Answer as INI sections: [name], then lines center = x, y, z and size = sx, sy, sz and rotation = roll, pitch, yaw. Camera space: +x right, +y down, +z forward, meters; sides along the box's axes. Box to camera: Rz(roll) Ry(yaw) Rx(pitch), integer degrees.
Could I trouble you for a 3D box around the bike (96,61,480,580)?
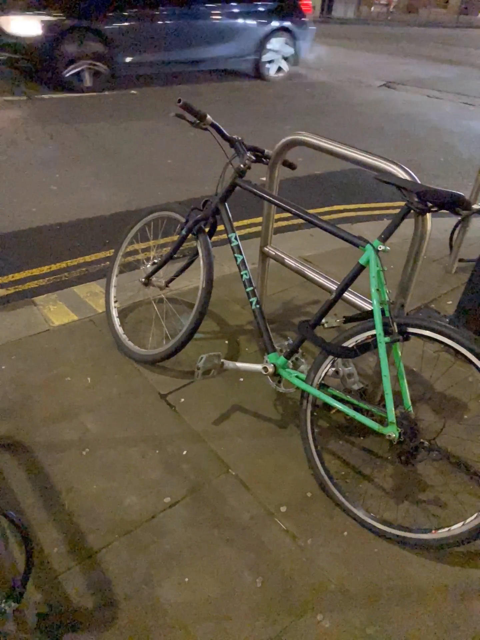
[bike]
center = 0.274, -0.198, 1.731
size = 1.690, 1.014, 0.641
rotation = 32, 44, 33
